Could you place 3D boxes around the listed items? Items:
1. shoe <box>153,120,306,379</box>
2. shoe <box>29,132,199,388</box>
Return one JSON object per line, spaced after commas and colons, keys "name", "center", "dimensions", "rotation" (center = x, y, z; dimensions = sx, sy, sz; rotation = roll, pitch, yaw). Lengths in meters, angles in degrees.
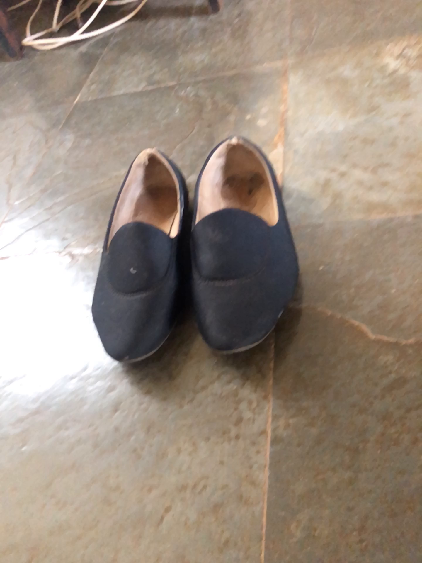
{"name": "shoe", "center": [0.031, -0.045, 0.469], "dimensions": [0.110, 0.080, 0.272], "rotation": [-6, 48, 15]}
{"name": "shoe", "center": [-0.082, -0.037, 0.484], "dimensions": [0.110, 0.080, 0.272], "rotation": [-9, 47, 12]}
